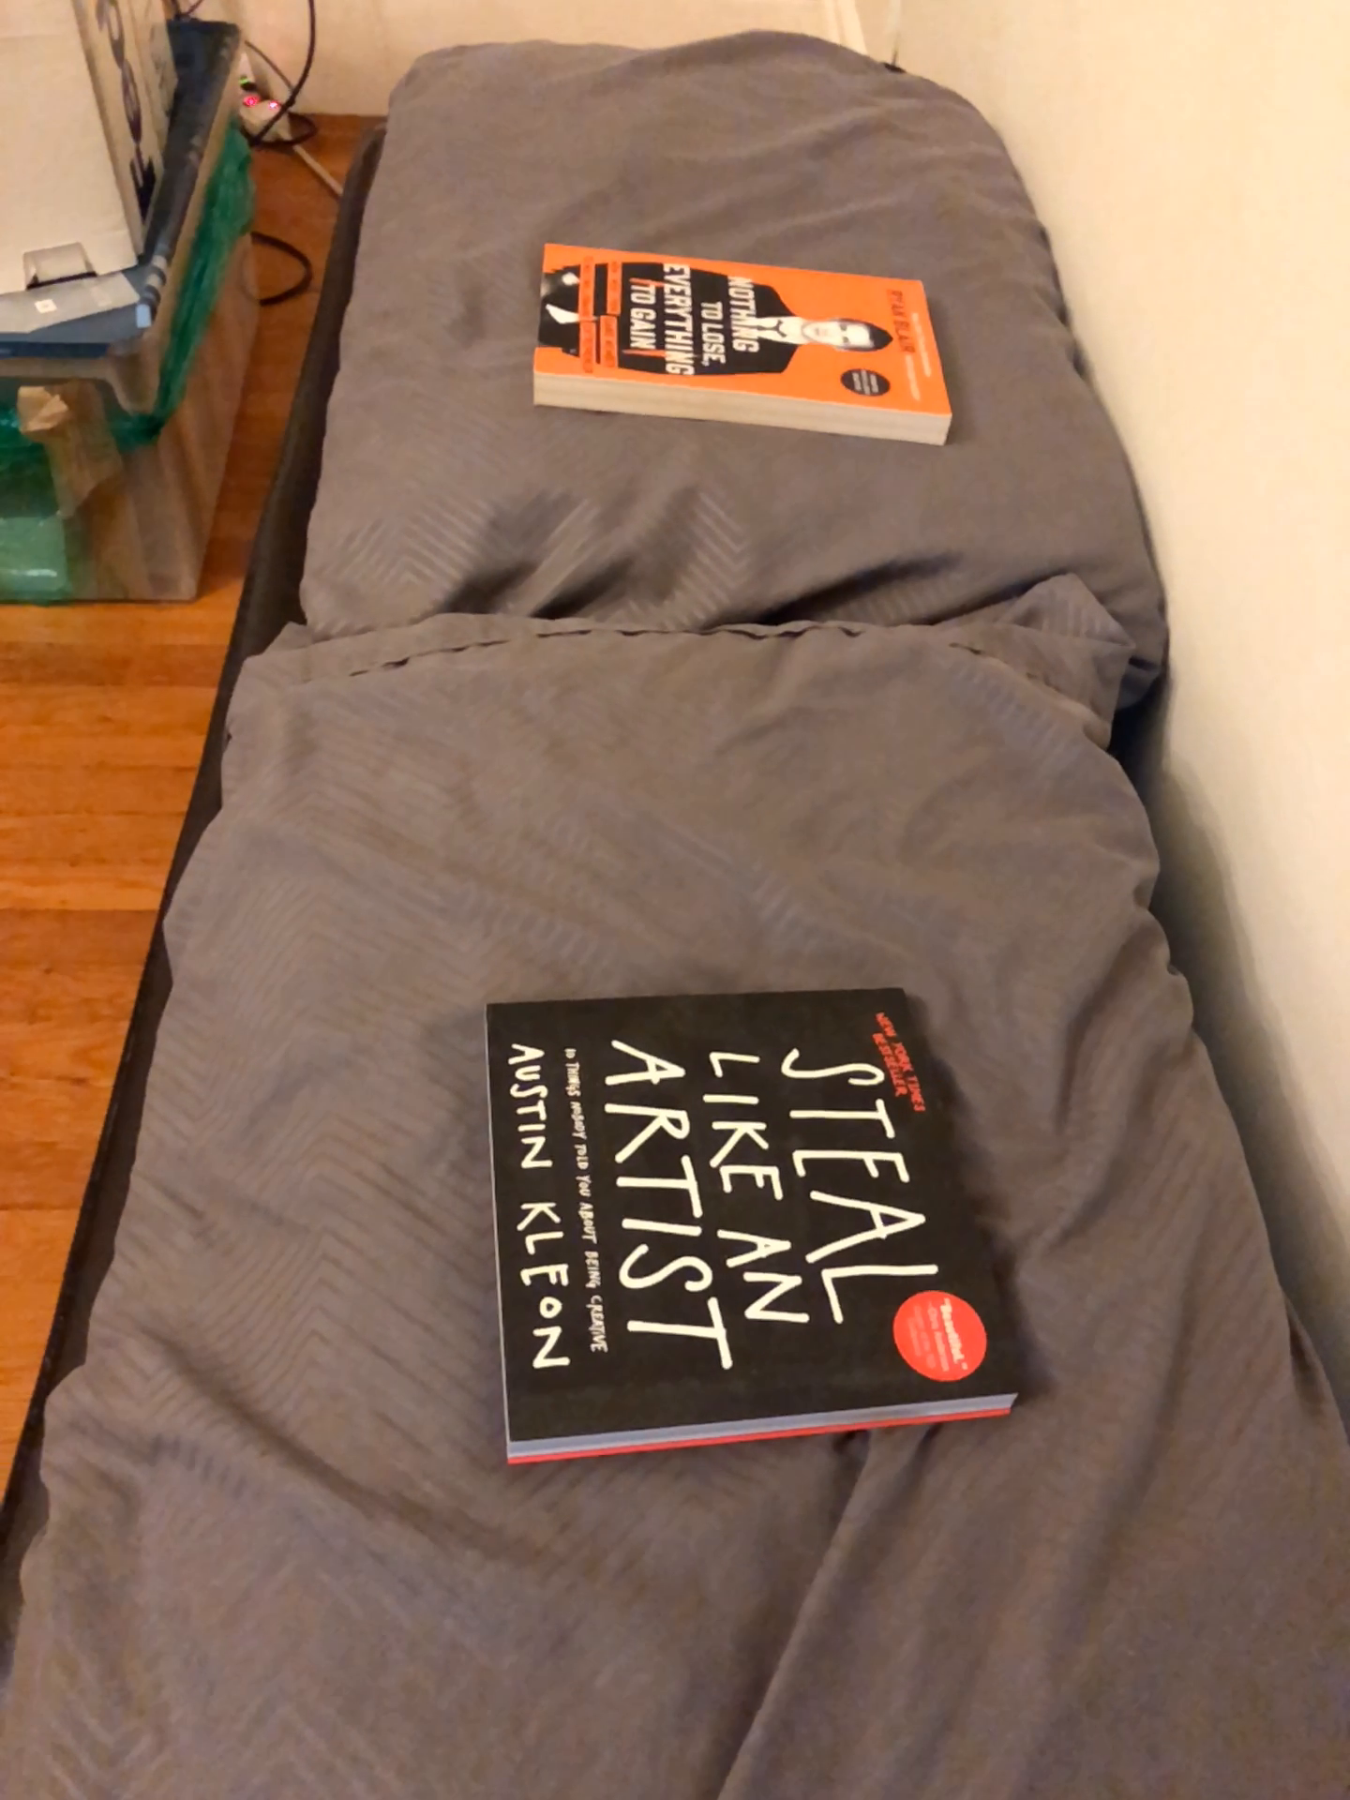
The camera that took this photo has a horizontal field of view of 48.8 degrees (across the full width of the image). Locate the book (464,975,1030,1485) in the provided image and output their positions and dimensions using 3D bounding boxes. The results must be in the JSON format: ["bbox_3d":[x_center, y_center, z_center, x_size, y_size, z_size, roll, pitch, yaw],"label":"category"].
[{"bbox_3d":[0.015,0.098,0.484,0.160,0.020,0.161,-2,50,-8],"label":"book"}]
